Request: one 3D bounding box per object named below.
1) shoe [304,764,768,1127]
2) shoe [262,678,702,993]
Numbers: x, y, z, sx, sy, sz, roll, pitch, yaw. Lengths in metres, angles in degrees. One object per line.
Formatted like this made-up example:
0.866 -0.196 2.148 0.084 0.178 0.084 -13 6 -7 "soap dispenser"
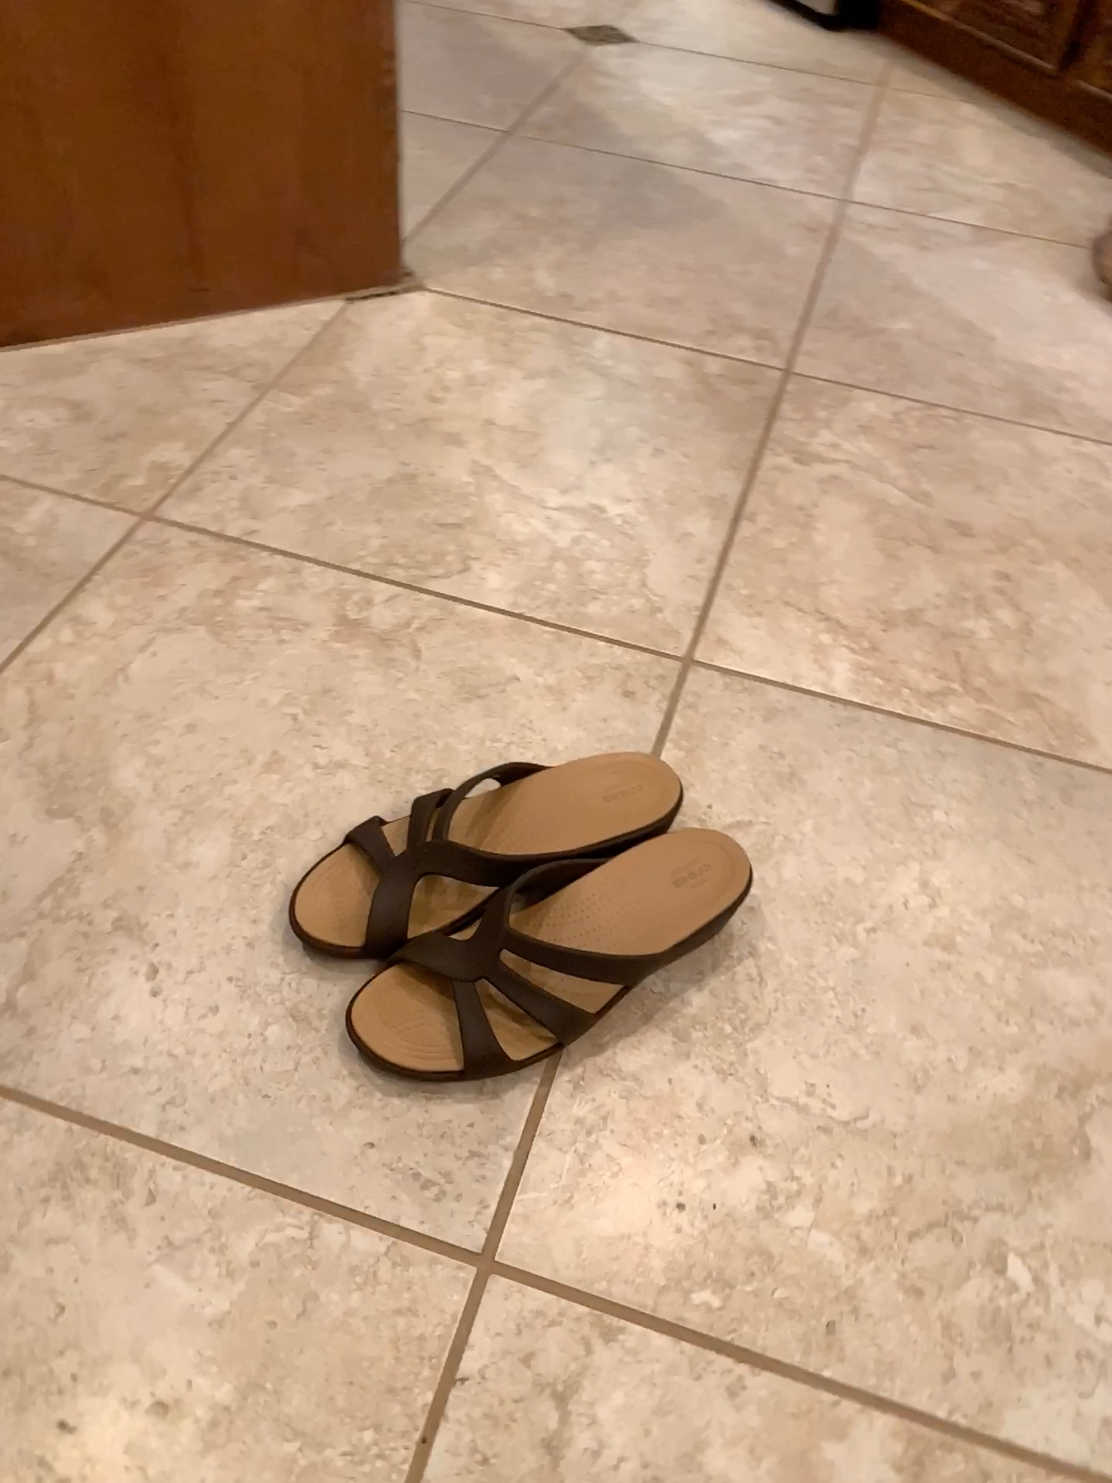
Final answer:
-0.012 0.123 0.729 0.264 0.092 0.110 -19 52 -21 "shoe"
-0.049 0.057 0.761 0.258 0.092 0.110 -15 50 -19 "shoe"
